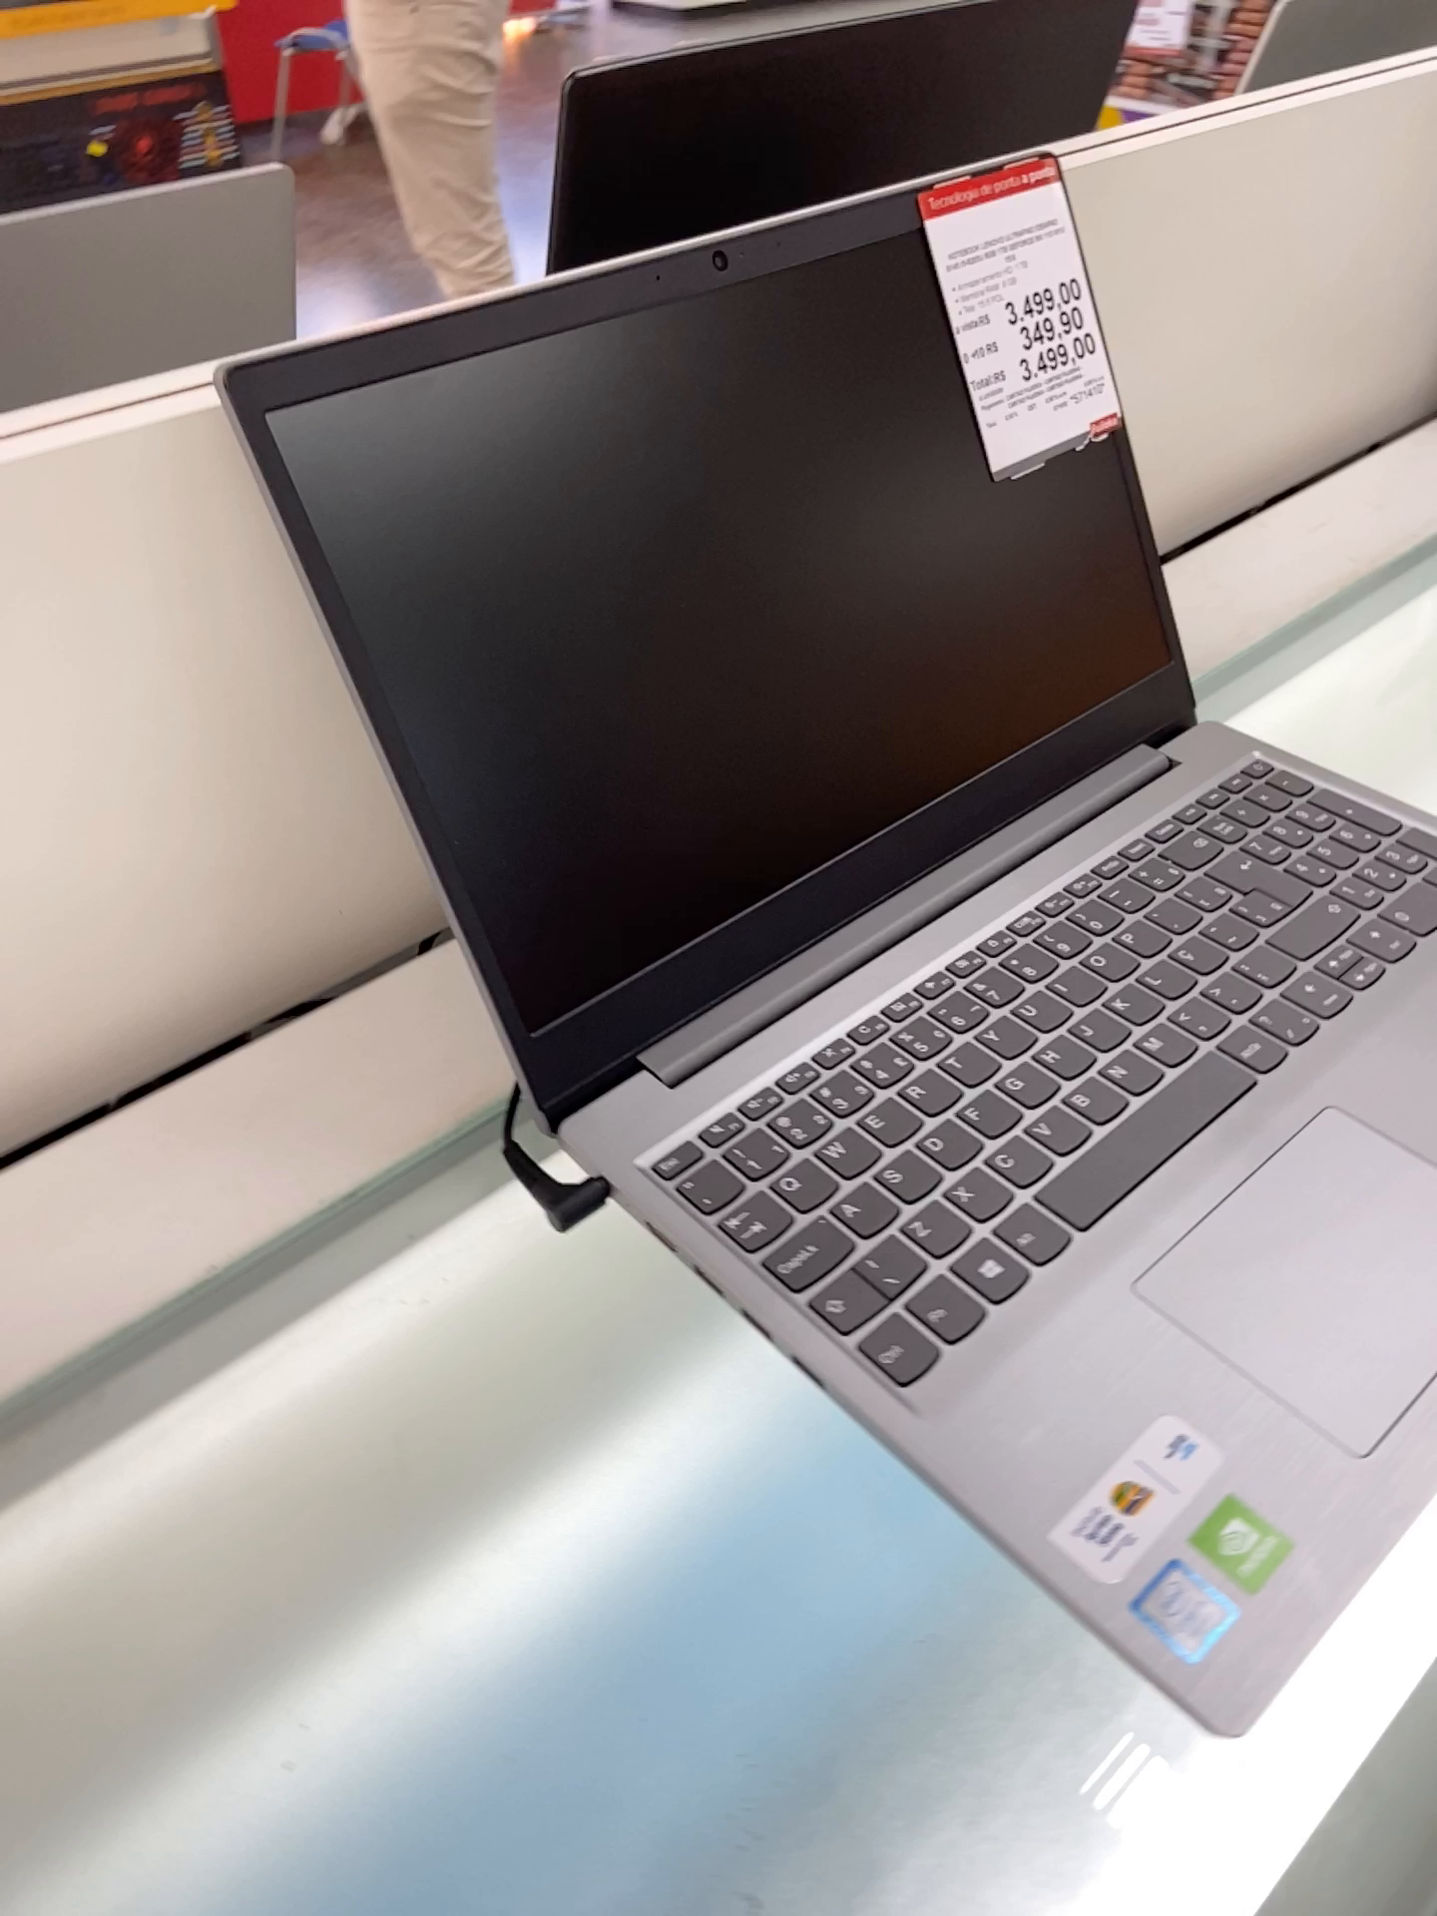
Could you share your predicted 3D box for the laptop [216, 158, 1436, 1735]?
[{"bbox_3d":[0.122,-0.074,0.452,0.361,0.201,0.366,-30,48,-31],"label":"laptop"}]
